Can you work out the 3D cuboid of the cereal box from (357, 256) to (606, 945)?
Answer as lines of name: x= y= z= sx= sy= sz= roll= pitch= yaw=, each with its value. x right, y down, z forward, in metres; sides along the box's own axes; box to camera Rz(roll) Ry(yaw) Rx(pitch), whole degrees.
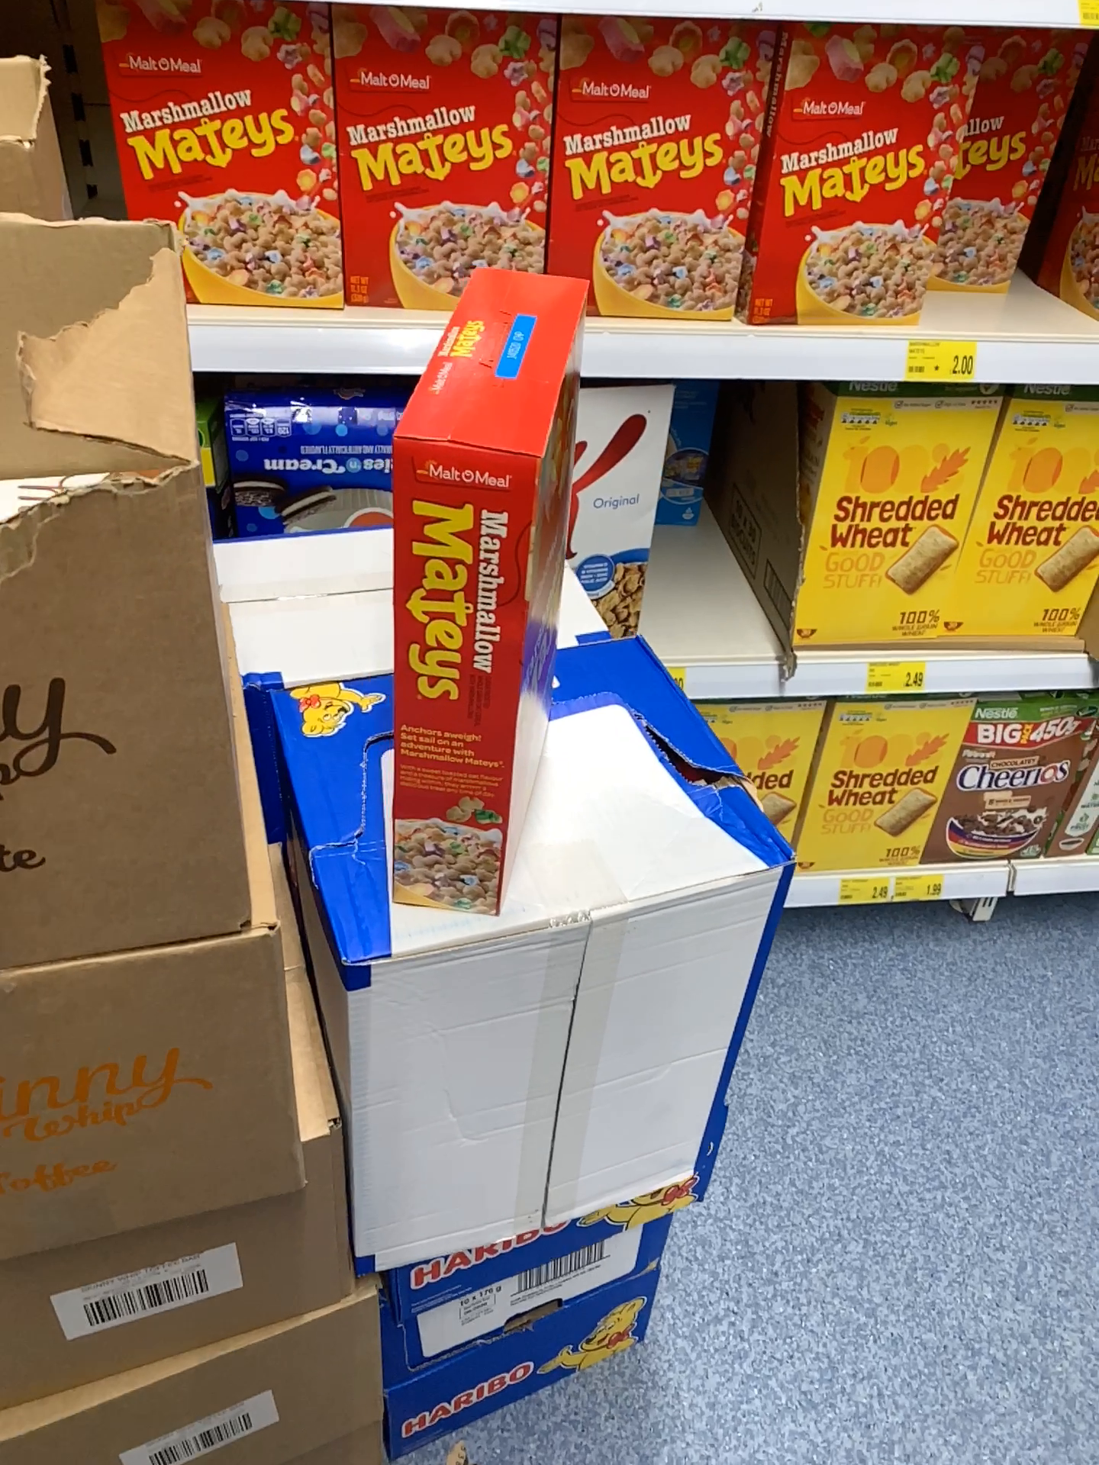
cereal box: x=-0.034 y=-0.062 z=0.578 sx=0.070 sy=0.287 sz=0.192 roll=9 pitch=41 yaw=4
